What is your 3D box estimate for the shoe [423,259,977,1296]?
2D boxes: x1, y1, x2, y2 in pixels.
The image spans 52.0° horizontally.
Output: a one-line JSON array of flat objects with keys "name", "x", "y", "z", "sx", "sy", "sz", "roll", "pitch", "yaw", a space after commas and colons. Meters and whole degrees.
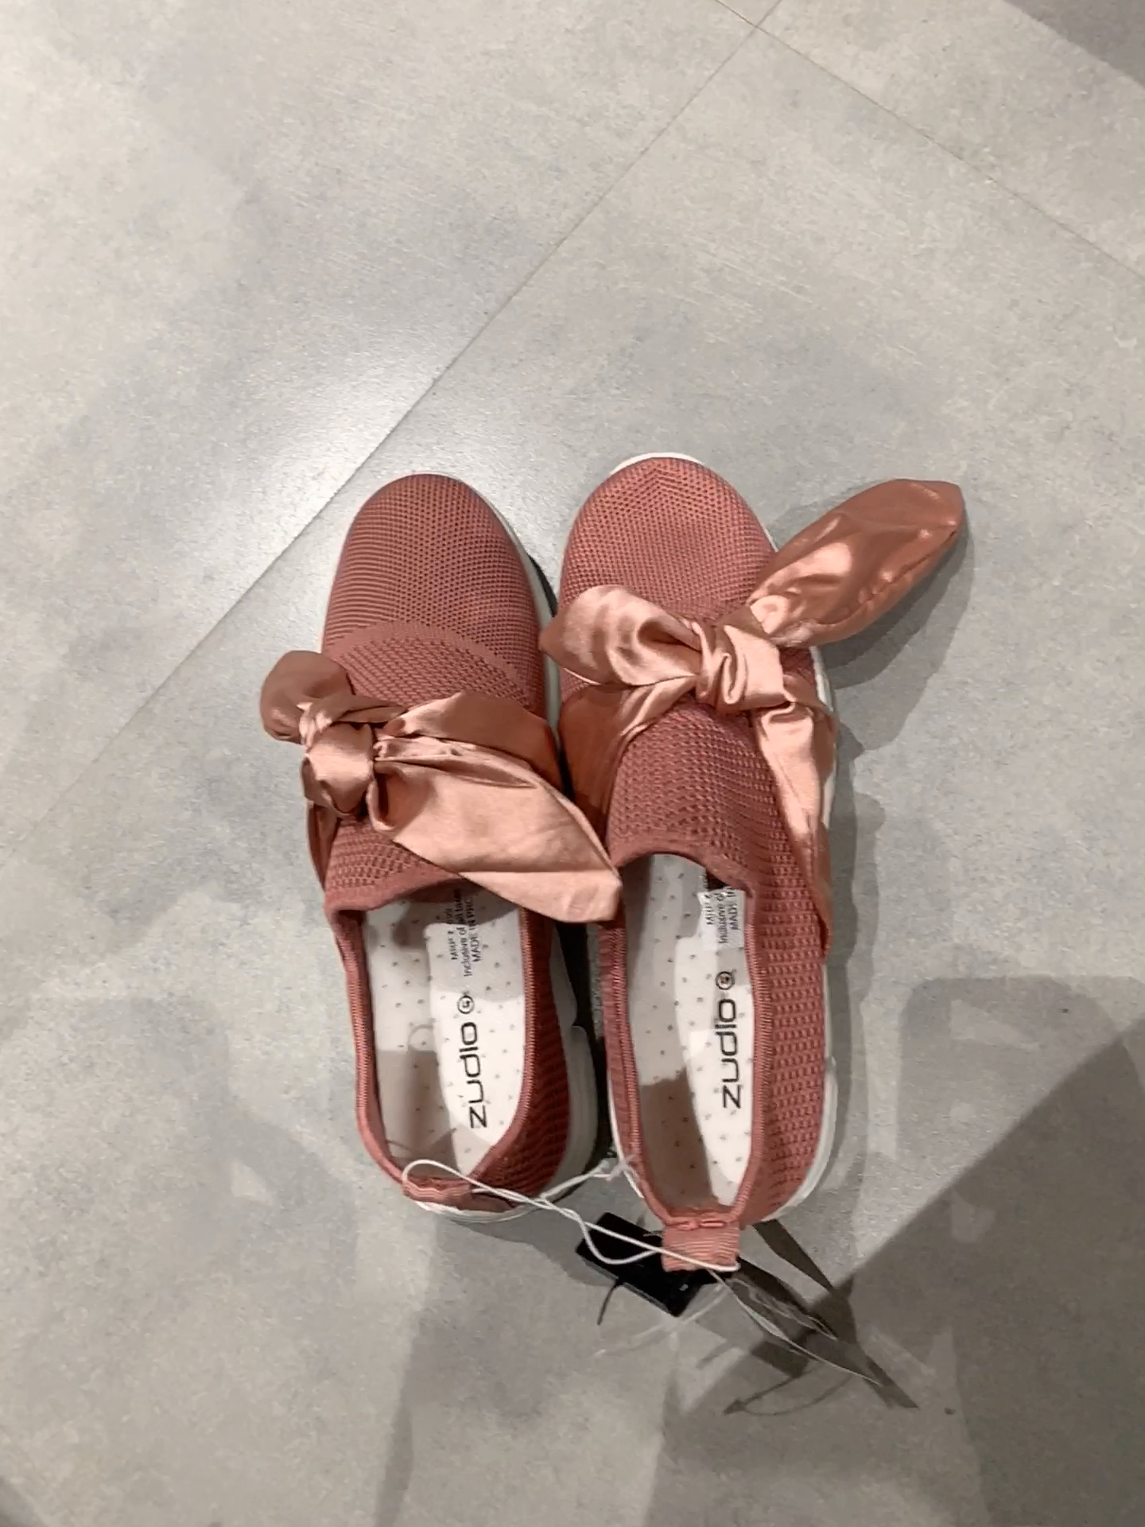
[{"name": "shoe", "x": 0.035, "y": 0.004, "z": 0.367, "sx": 0.110, "sy": 0.100, "sz": 0.270, "roll": -9, "pitch": 80, "yaw": 7}]

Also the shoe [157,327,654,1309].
[{"name": "shoe", "x": -0.051, "y": 0.017, "z": 0.387, "sx": 0.110, "sy": 0.100, "sz": 0.270, "roll": -9, "pitch": 80, "yaw": 7}]
